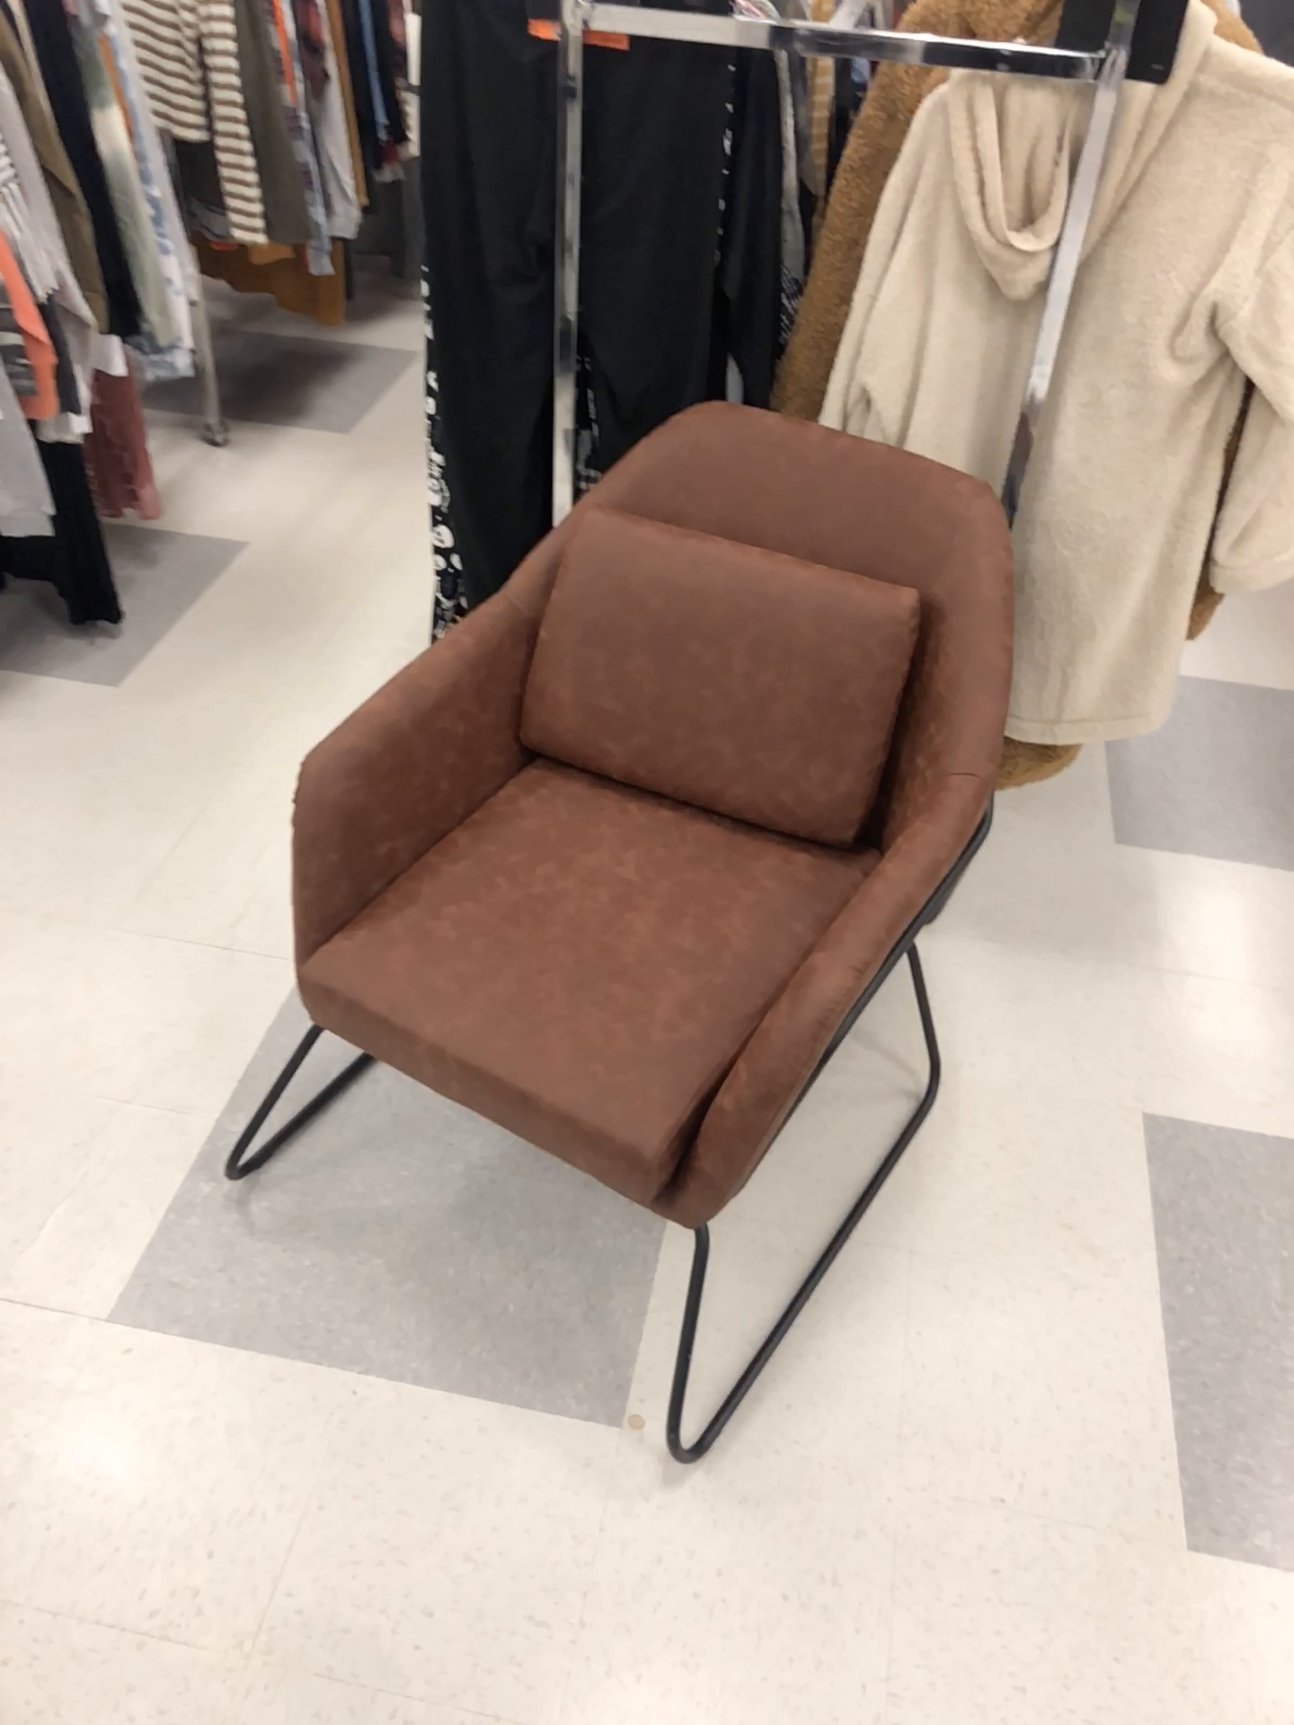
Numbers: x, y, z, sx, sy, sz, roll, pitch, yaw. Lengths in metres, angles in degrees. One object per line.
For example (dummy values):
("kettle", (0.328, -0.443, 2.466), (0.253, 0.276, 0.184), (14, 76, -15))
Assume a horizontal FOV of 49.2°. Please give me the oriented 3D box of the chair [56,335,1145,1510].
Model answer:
("chair", (-0.021, 0.013, 1.608), (0.735, 0.849, 0.763), (24, 43, 23))
